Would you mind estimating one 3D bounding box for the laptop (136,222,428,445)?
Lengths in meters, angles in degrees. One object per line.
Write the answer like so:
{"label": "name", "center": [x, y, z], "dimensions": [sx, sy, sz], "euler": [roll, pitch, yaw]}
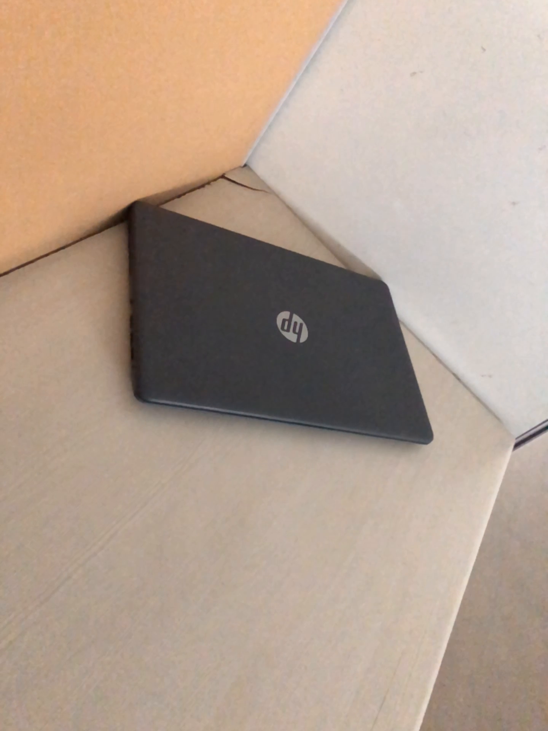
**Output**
{"label": "laptop", "center": [0.016, -0.032, 0.697], "dimensions": [0.357, 0.004, 0.237], "euler": [11, 52, -30]}
